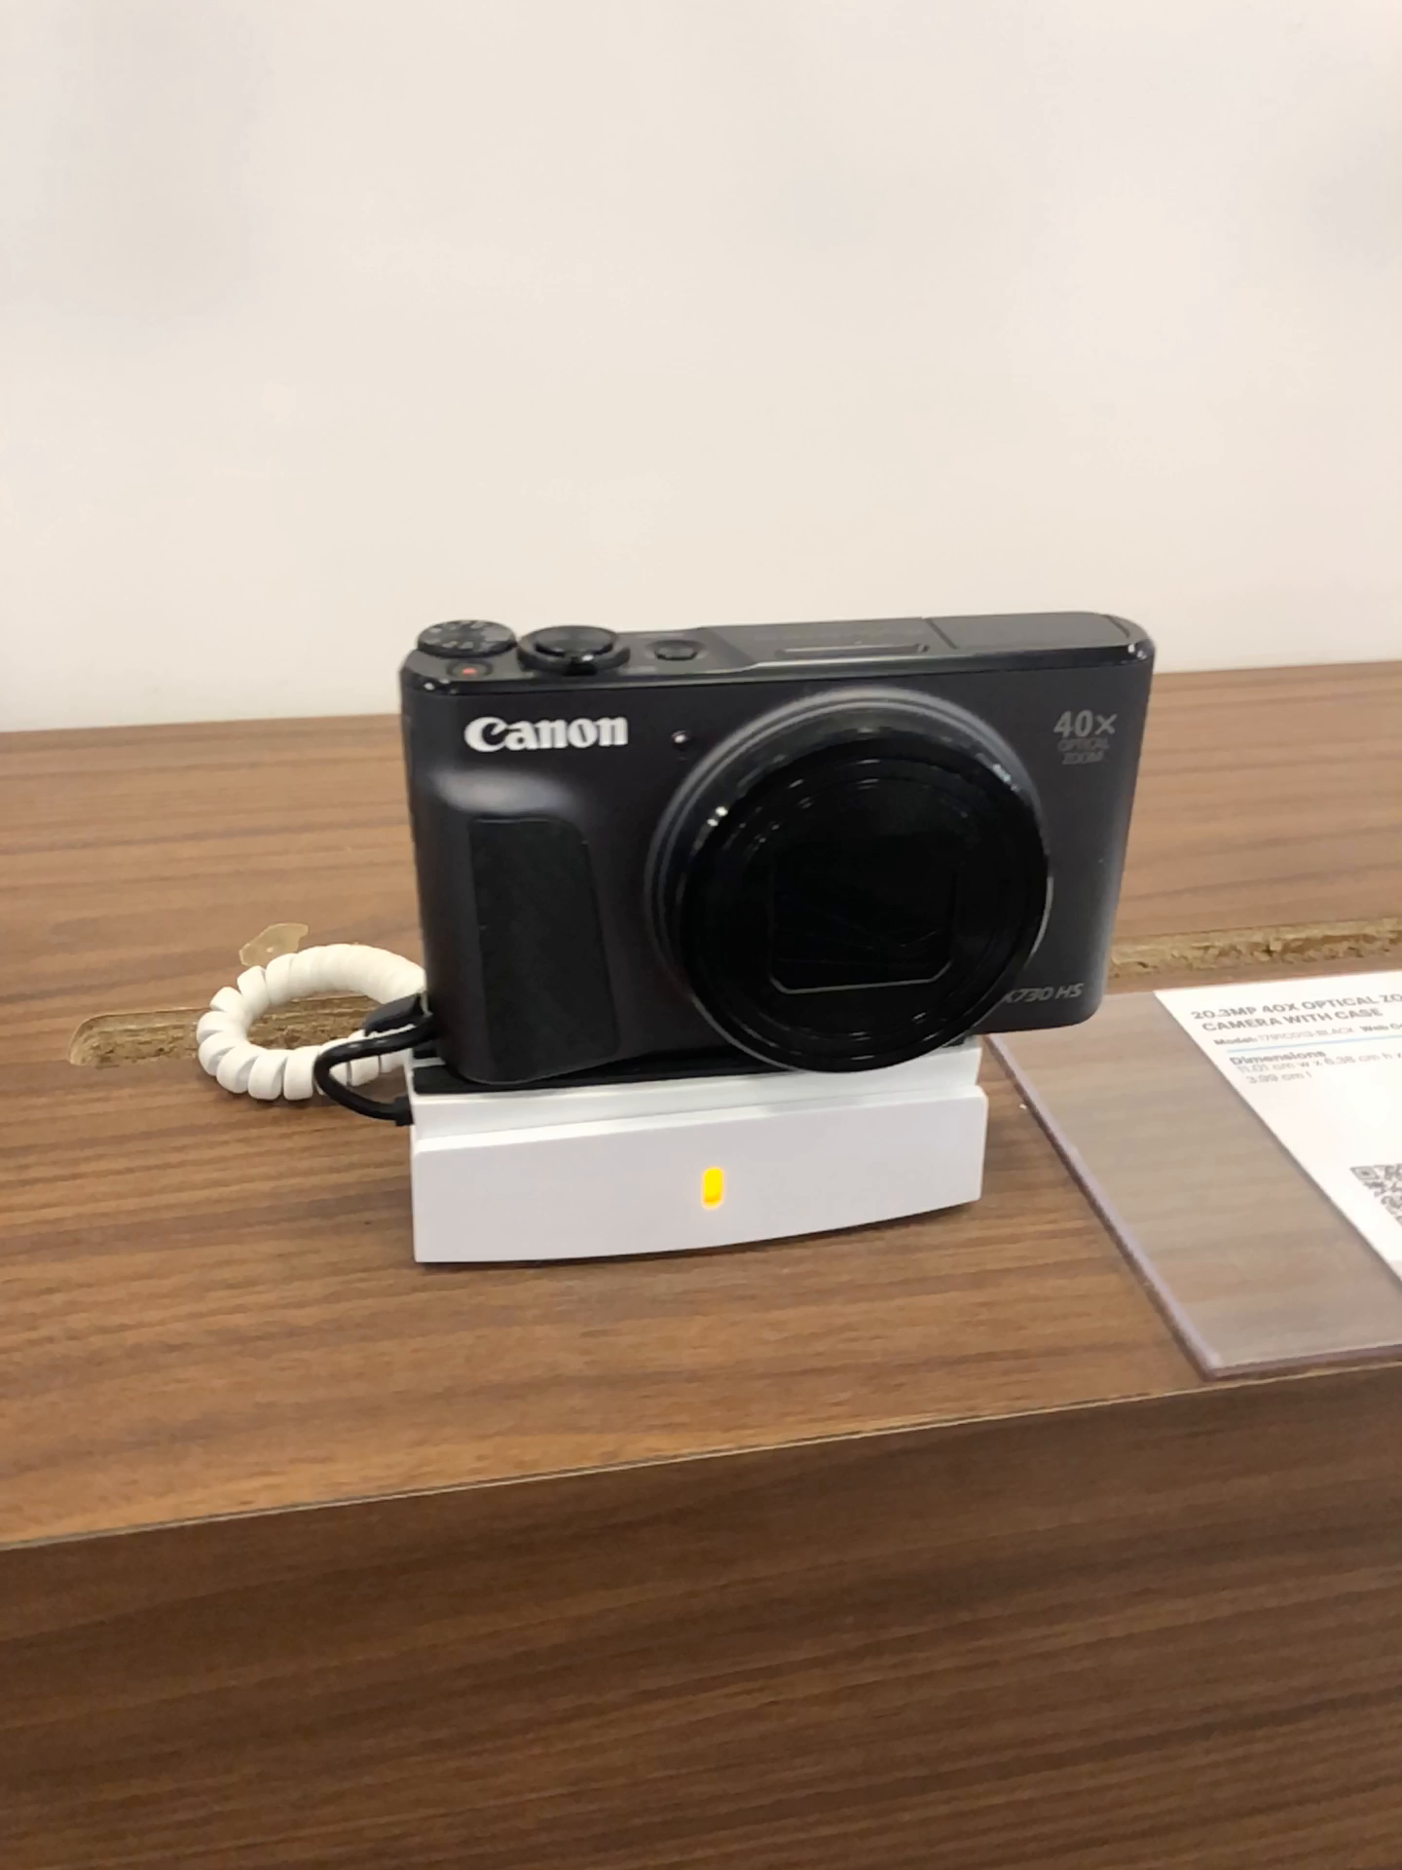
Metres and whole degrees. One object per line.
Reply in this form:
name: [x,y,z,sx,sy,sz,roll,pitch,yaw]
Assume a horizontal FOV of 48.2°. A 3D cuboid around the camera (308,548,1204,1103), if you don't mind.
camera: [0.007,-0.018,0.235,0.120,0.070,0.030,-4,27,-9]
